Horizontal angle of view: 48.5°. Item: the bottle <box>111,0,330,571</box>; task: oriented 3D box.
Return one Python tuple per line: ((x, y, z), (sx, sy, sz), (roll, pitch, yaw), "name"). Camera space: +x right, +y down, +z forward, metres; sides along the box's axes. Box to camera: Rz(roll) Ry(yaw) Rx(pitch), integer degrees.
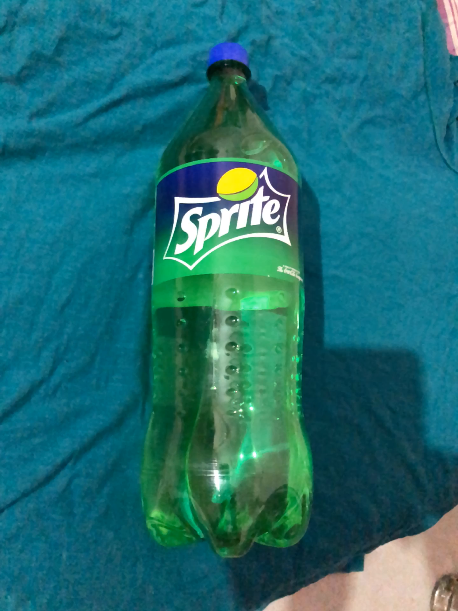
((-0.005, -0.029, 0.313), (0.110, 0.070, 0.330), (4, 79, -13), "bottle")
